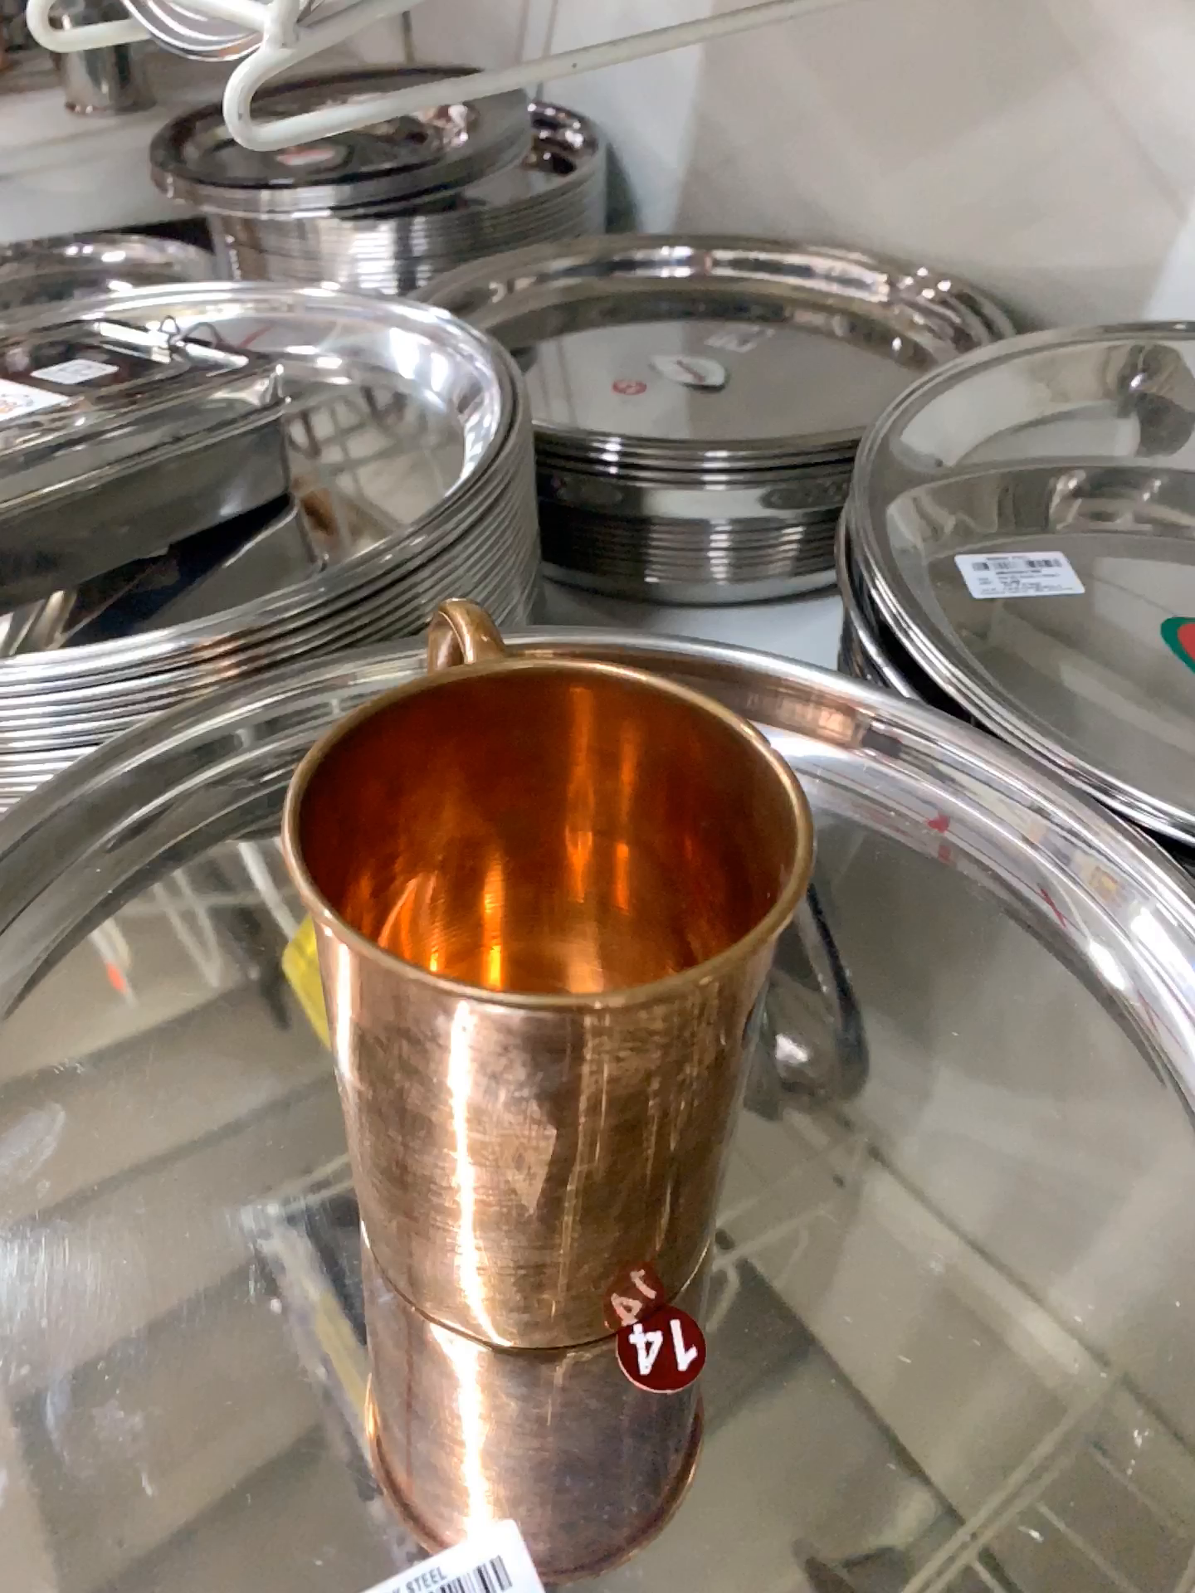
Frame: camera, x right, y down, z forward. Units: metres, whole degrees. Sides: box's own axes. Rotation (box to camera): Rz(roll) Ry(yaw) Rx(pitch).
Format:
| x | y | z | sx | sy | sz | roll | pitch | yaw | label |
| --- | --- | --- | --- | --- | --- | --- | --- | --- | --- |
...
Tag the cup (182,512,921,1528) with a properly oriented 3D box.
| x | y | z | sx | sy | sz | roll | pitch | yaw | label |
| --- | --- | --- | --- | --- | --- | --- | --- | --- | --- |
| -0.017 | 0.036 | 0.238 | 0.080 | 0.120 | 0.130 | -15 | 43 | -15 | cup |
